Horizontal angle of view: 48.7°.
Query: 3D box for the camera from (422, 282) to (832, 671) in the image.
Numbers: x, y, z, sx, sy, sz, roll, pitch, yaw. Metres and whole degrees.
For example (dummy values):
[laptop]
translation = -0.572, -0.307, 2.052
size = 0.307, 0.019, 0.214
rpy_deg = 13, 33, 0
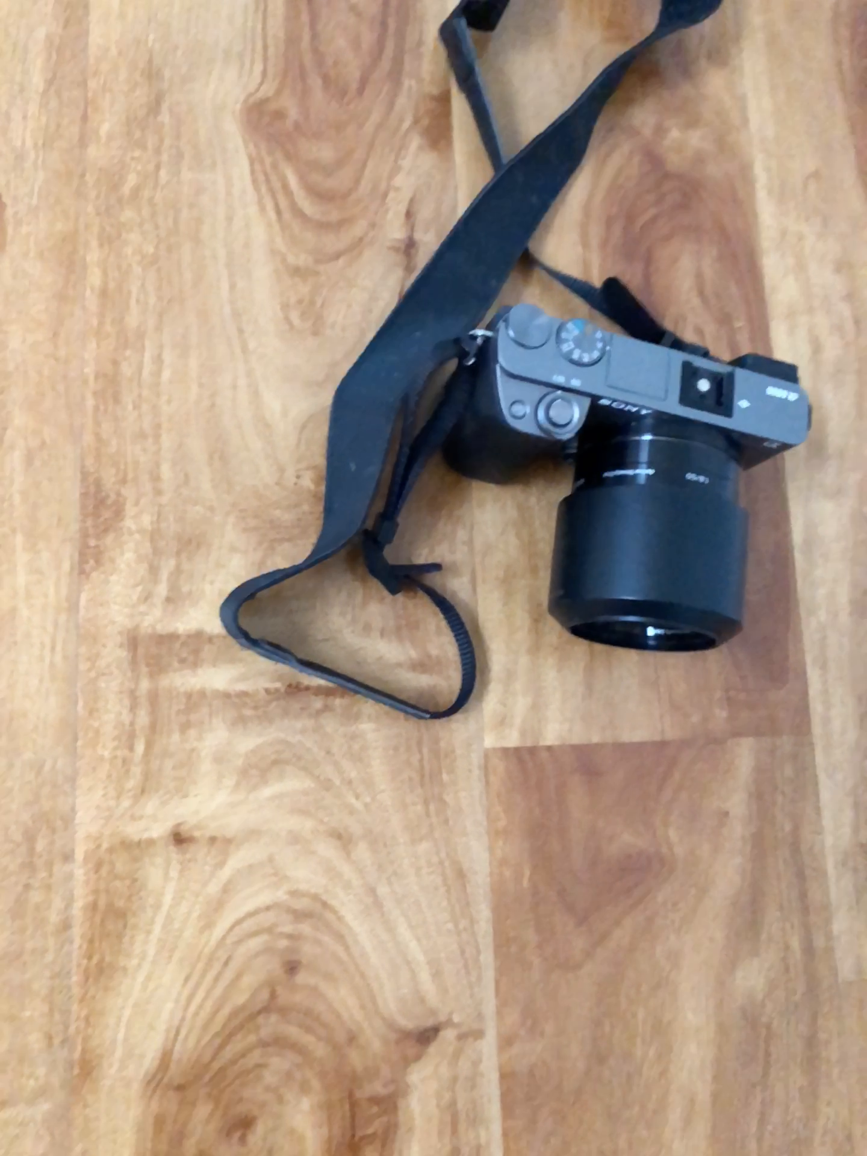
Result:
[camera]
translation = 0.073, -0.031, 0.366
size = 0.130, 0.070, 0.110
rpy_deg = 10, 76, -14
